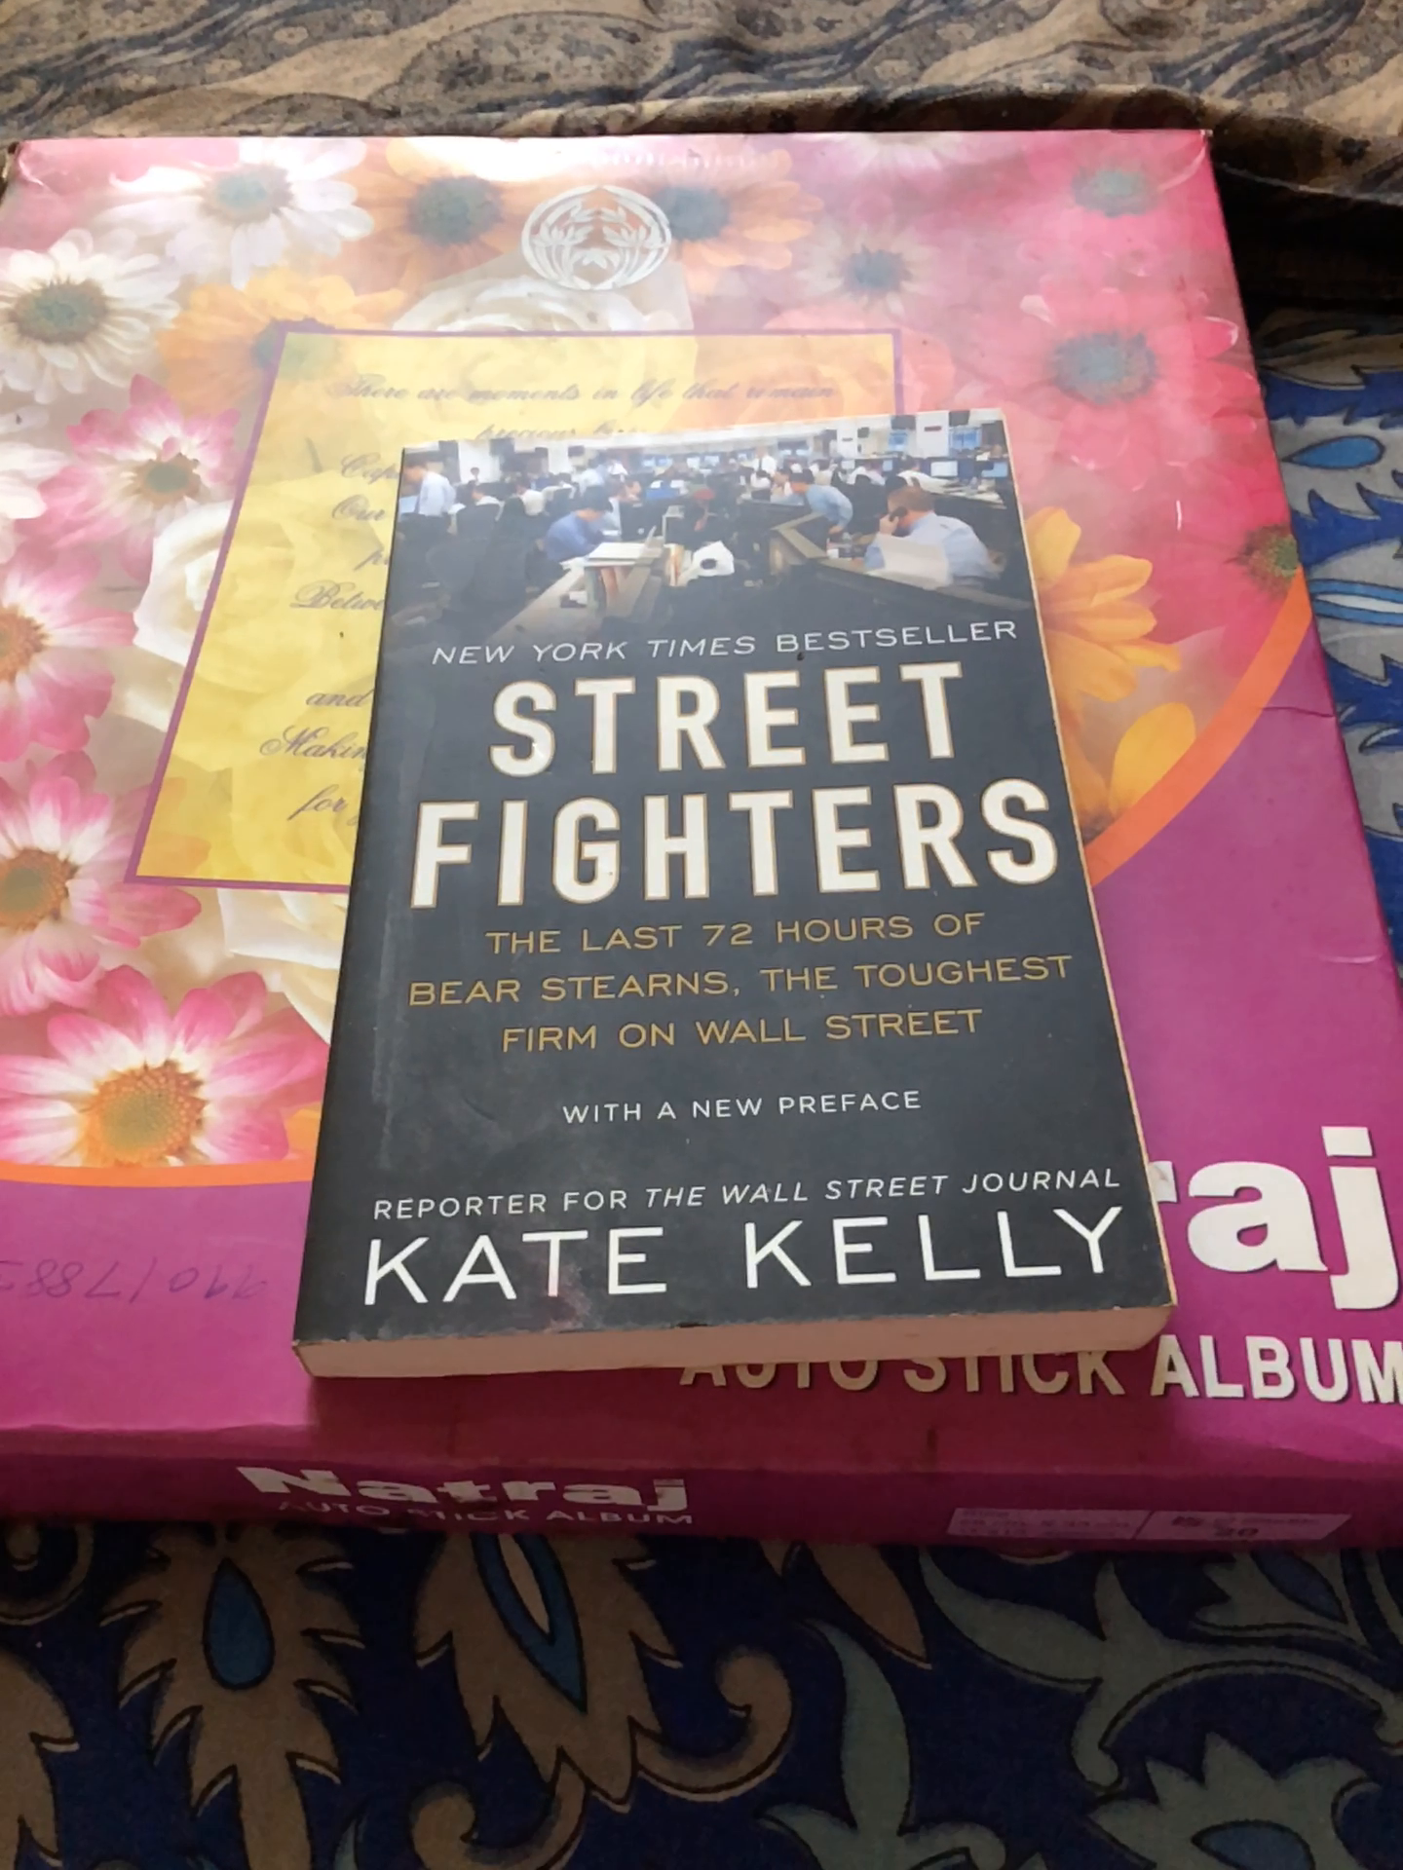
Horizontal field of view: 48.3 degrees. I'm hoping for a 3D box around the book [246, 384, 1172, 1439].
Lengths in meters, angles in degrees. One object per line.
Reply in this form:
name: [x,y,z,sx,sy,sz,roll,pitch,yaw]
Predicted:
book: [-0.001,-0.017,0.303,0.140,0.030,0.210,-4,58,5]
